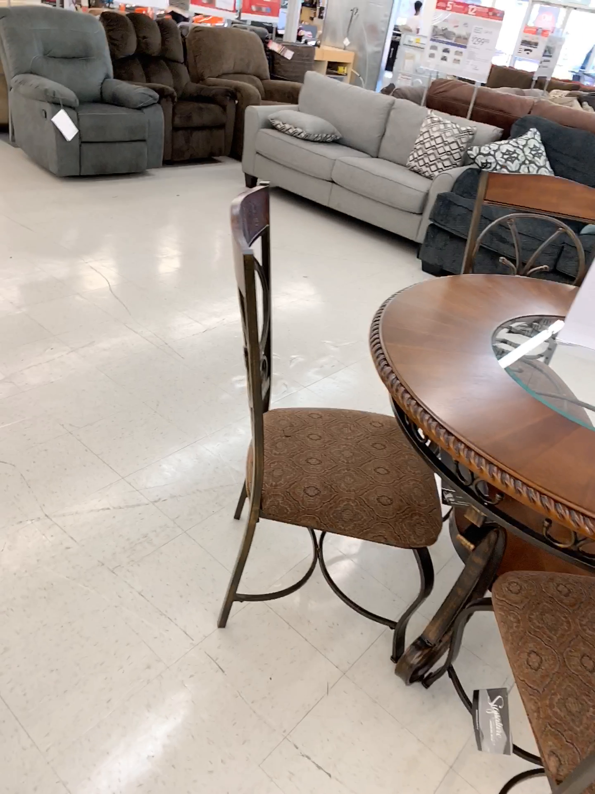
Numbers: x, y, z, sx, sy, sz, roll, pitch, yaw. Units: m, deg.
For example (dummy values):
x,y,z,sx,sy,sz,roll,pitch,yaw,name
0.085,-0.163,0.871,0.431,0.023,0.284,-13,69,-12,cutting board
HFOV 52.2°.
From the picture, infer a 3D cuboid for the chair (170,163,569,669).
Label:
x,y,z,sx,sy,sz,roll,pitch,yaw,name
0.078,0.066,1.423,0.580,0.975,0.523,10,33,-2,chair
